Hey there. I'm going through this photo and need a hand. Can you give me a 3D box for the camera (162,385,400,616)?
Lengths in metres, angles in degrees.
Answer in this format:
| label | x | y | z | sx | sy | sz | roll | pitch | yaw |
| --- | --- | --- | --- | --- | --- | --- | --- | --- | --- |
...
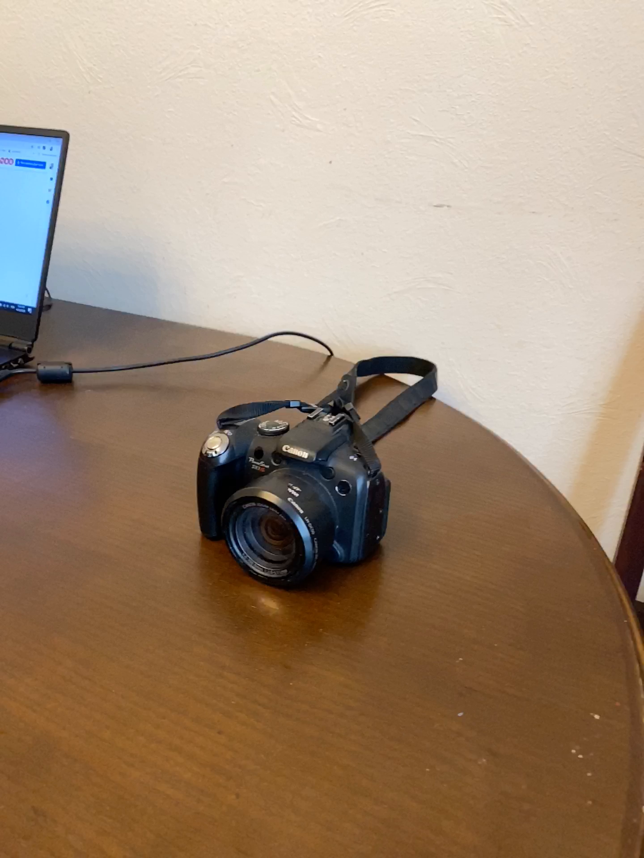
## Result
| label | x | y | z | sx | sy | sz | roll | pitch | yaw |
| --- | --- | --- | --- | --- | --- | --- | --- | --- | --- |
| camera | -0.027 | 0.039 | 0.425 | 0.123 | 0.088 | 0.082 | 17 | 28 | 25 |
